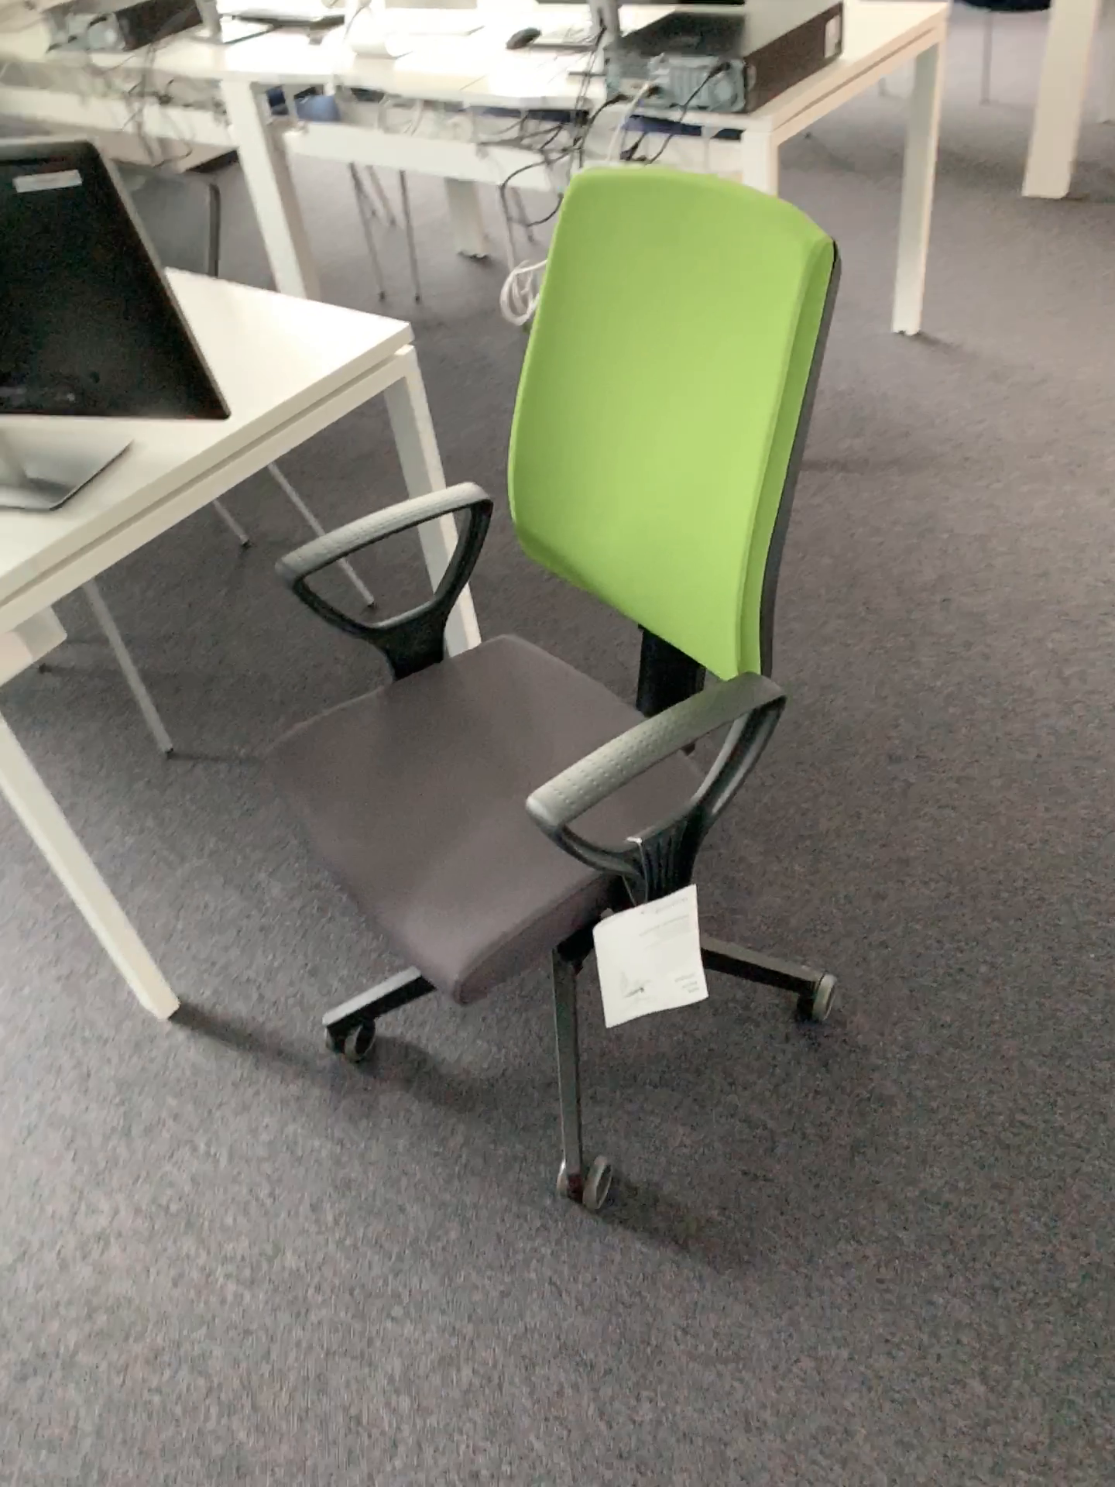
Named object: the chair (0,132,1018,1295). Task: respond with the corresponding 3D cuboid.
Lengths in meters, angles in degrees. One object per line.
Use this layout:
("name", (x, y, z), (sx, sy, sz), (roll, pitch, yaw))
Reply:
("chair", (-0.021, -0.031, 1.404), (0.761, 1.044, 0.622), (-32, 48, -23))
